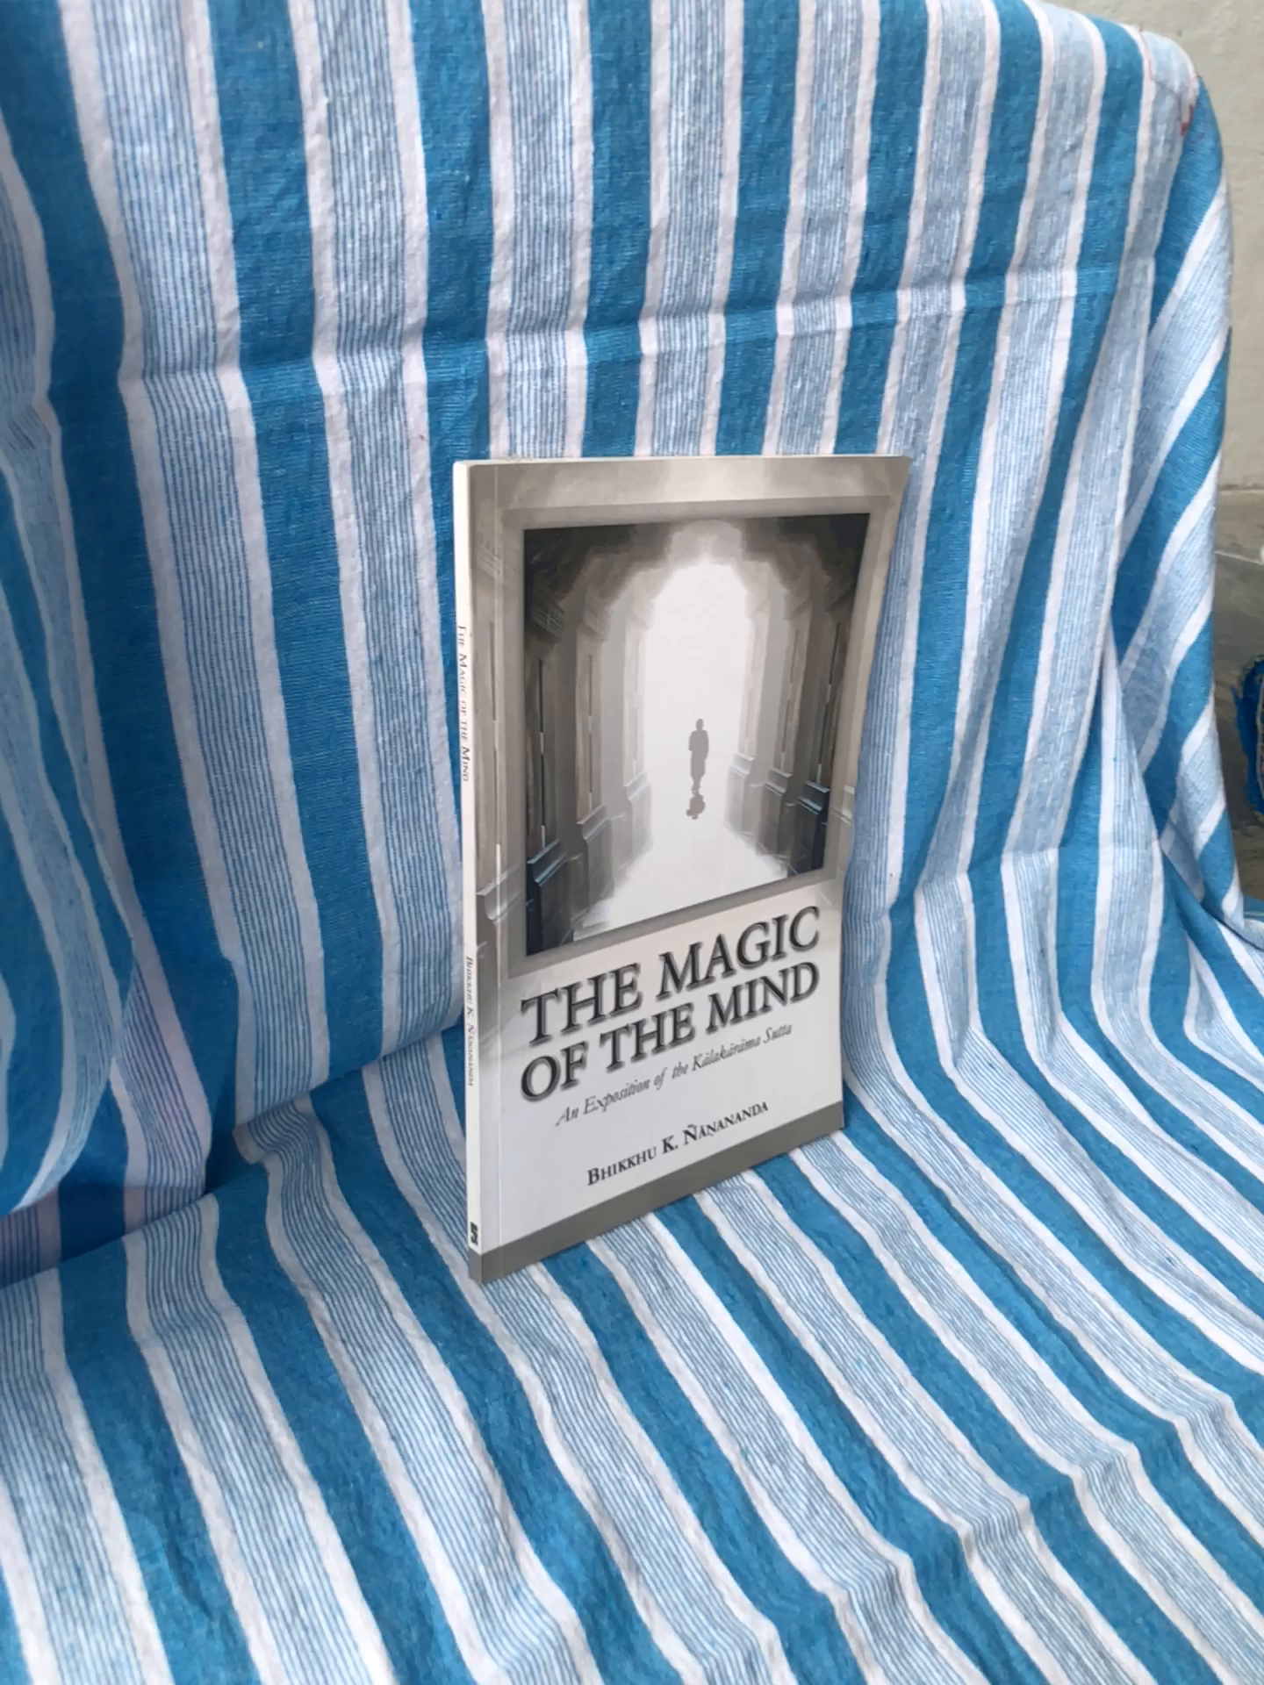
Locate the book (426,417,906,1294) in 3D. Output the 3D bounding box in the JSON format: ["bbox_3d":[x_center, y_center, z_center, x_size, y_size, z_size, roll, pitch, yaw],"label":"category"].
[{"bbox_3d":[0.015,-0.002,0.384,0.151,0.219,0.010,-13,21,-37],"label":"book"}]
